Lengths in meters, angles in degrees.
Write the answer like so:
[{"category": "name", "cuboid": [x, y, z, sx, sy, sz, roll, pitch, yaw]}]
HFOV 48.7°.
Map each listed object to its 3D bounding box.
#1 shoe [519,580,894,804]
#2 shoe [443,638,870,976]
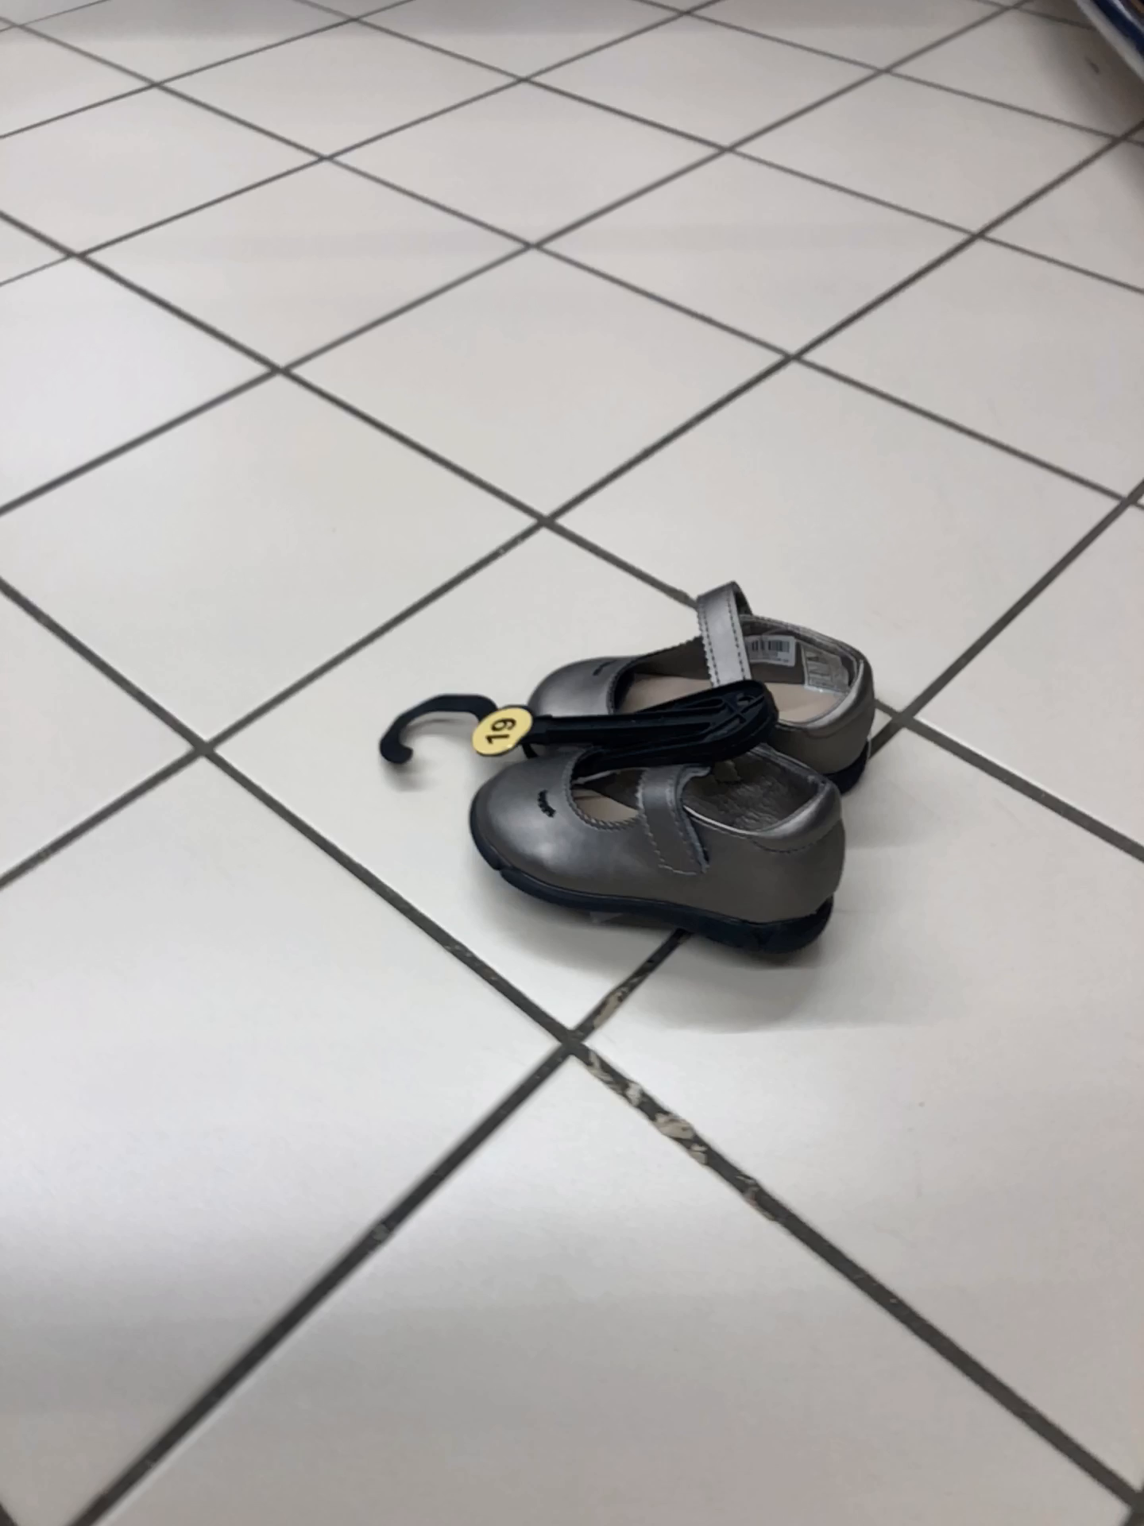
[{"category": "shoe", "cuboid": [0.051, -0.028, 0.489, 0.134, 0.047, 0.059, 6, 47, 6]}, {"category": "shoe", "cuboid": [0.029, 0.012, 0.440, 0.129, 0.061, 0.068, 14, 34, 13]}]
